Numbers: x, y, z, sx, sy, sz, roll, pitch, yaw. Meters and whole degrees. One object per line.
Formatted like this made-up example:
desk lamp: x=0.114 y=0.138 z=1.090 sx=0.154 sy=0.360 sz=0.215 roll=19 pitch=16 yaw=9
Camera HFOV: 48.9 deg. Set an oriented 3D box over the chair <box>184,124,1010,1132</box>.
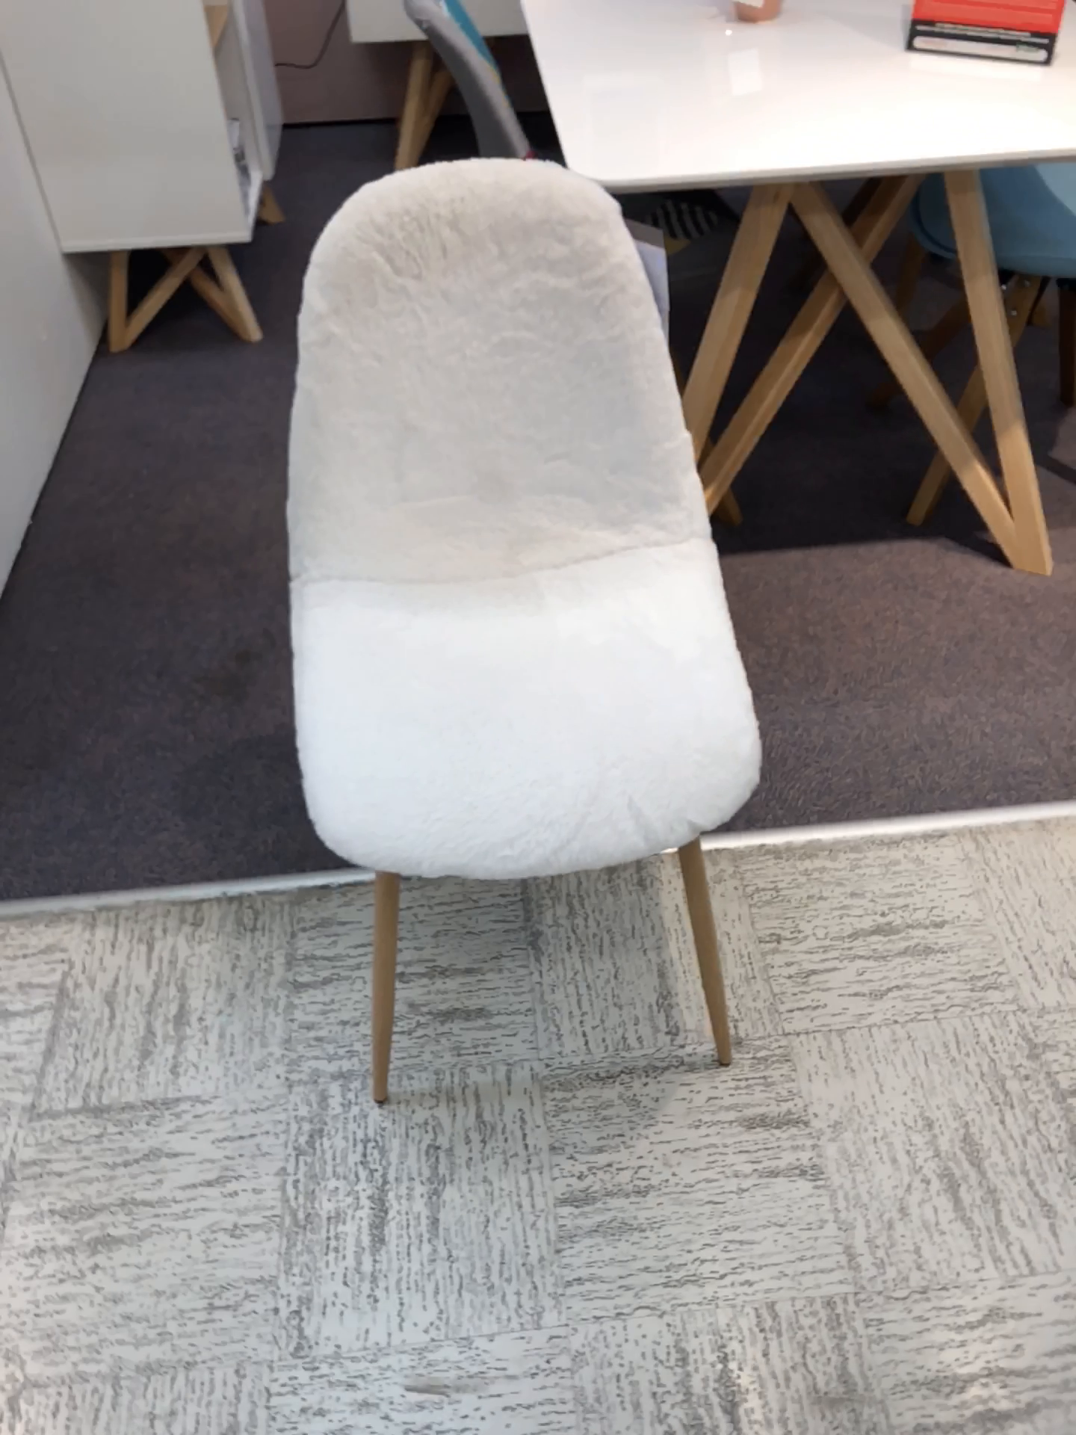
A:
chair: x=0.017 y=-0.064 z=1.215 sx=0.520 sy=0.815 sz=0.553 roll=-7 pitch=45 yaw=-5
